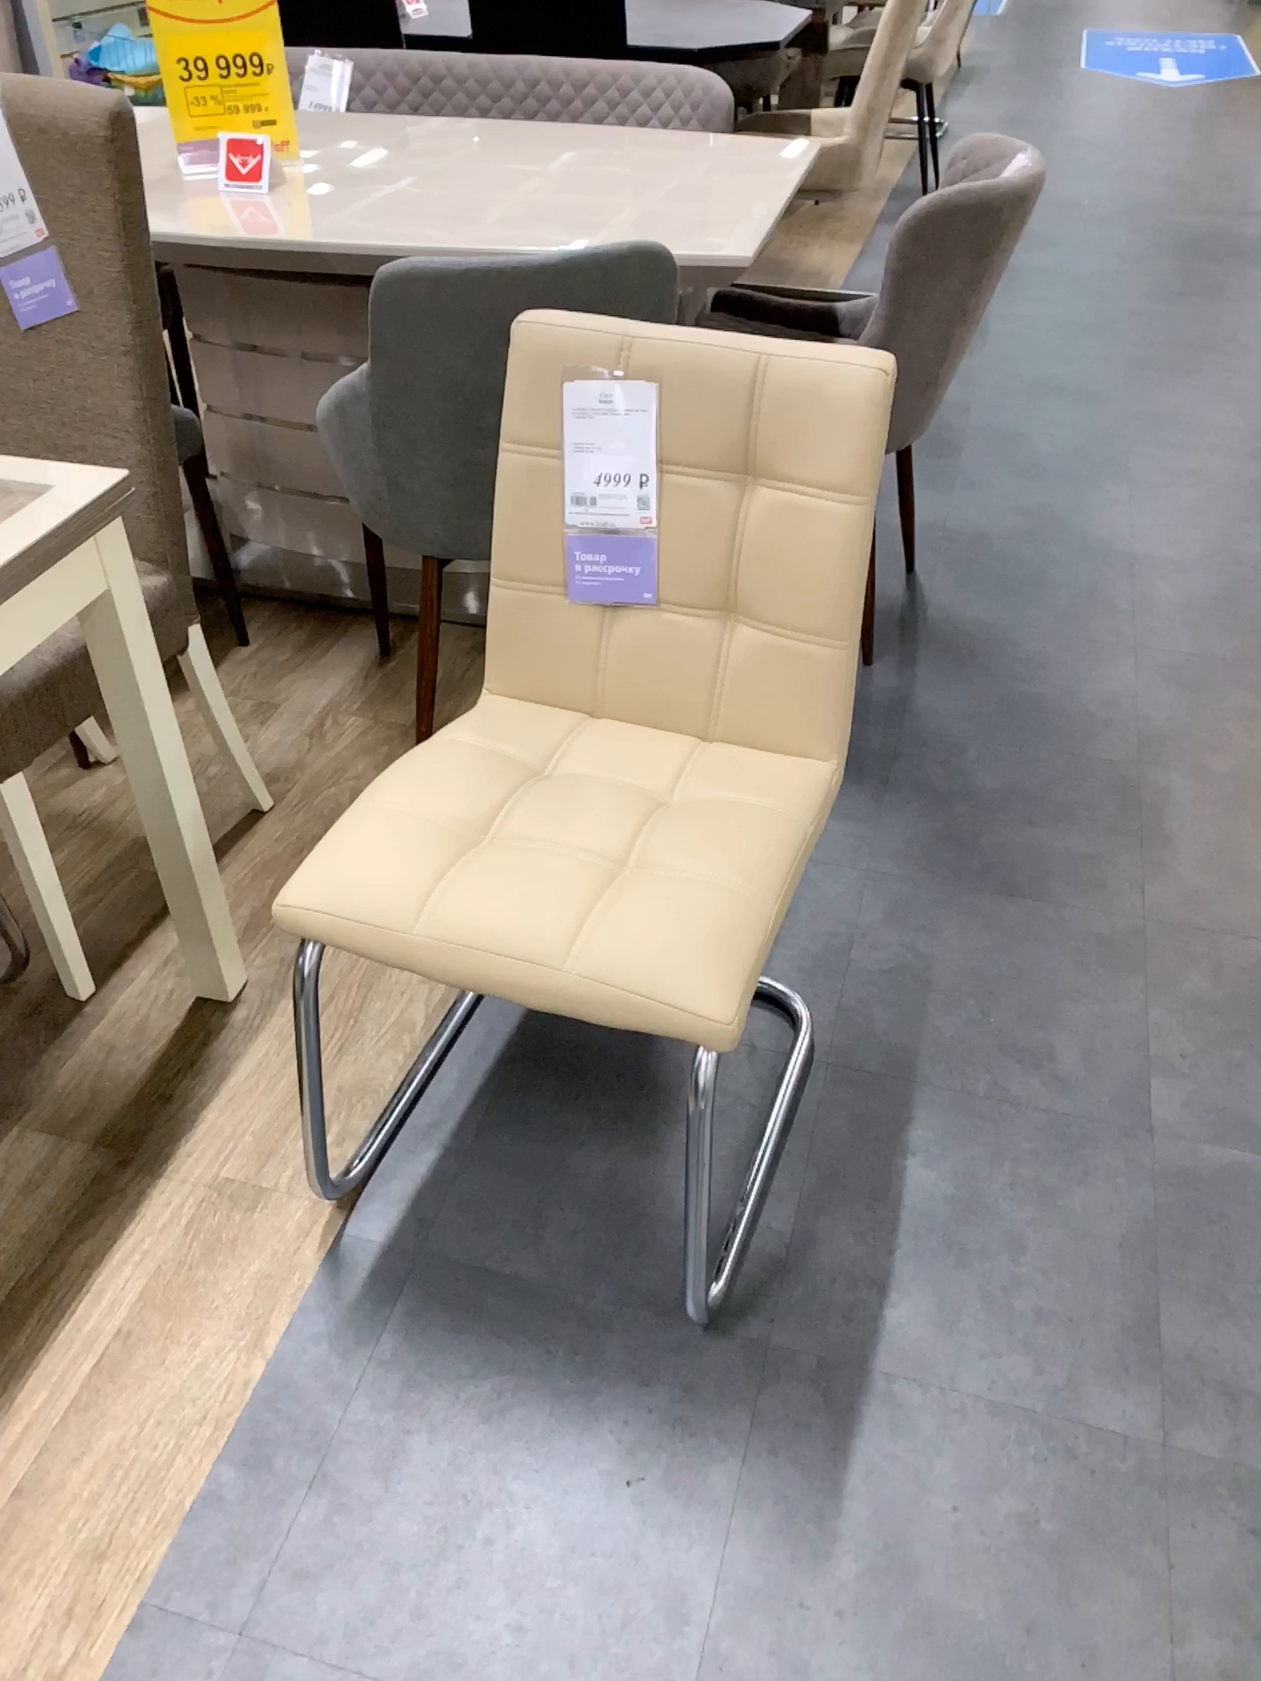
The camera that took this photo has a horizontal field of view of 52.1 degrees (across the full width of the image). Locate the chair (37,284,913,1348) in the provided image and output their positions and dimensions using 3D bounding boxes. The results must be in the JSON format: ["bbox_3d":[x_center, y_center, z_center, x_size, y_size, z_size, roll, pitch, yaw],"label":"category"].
[{"bbox_3d":[-0.072,-0.051,1.370,0.530,0.815,0.654,12,40,16],"label":"chair"}]
